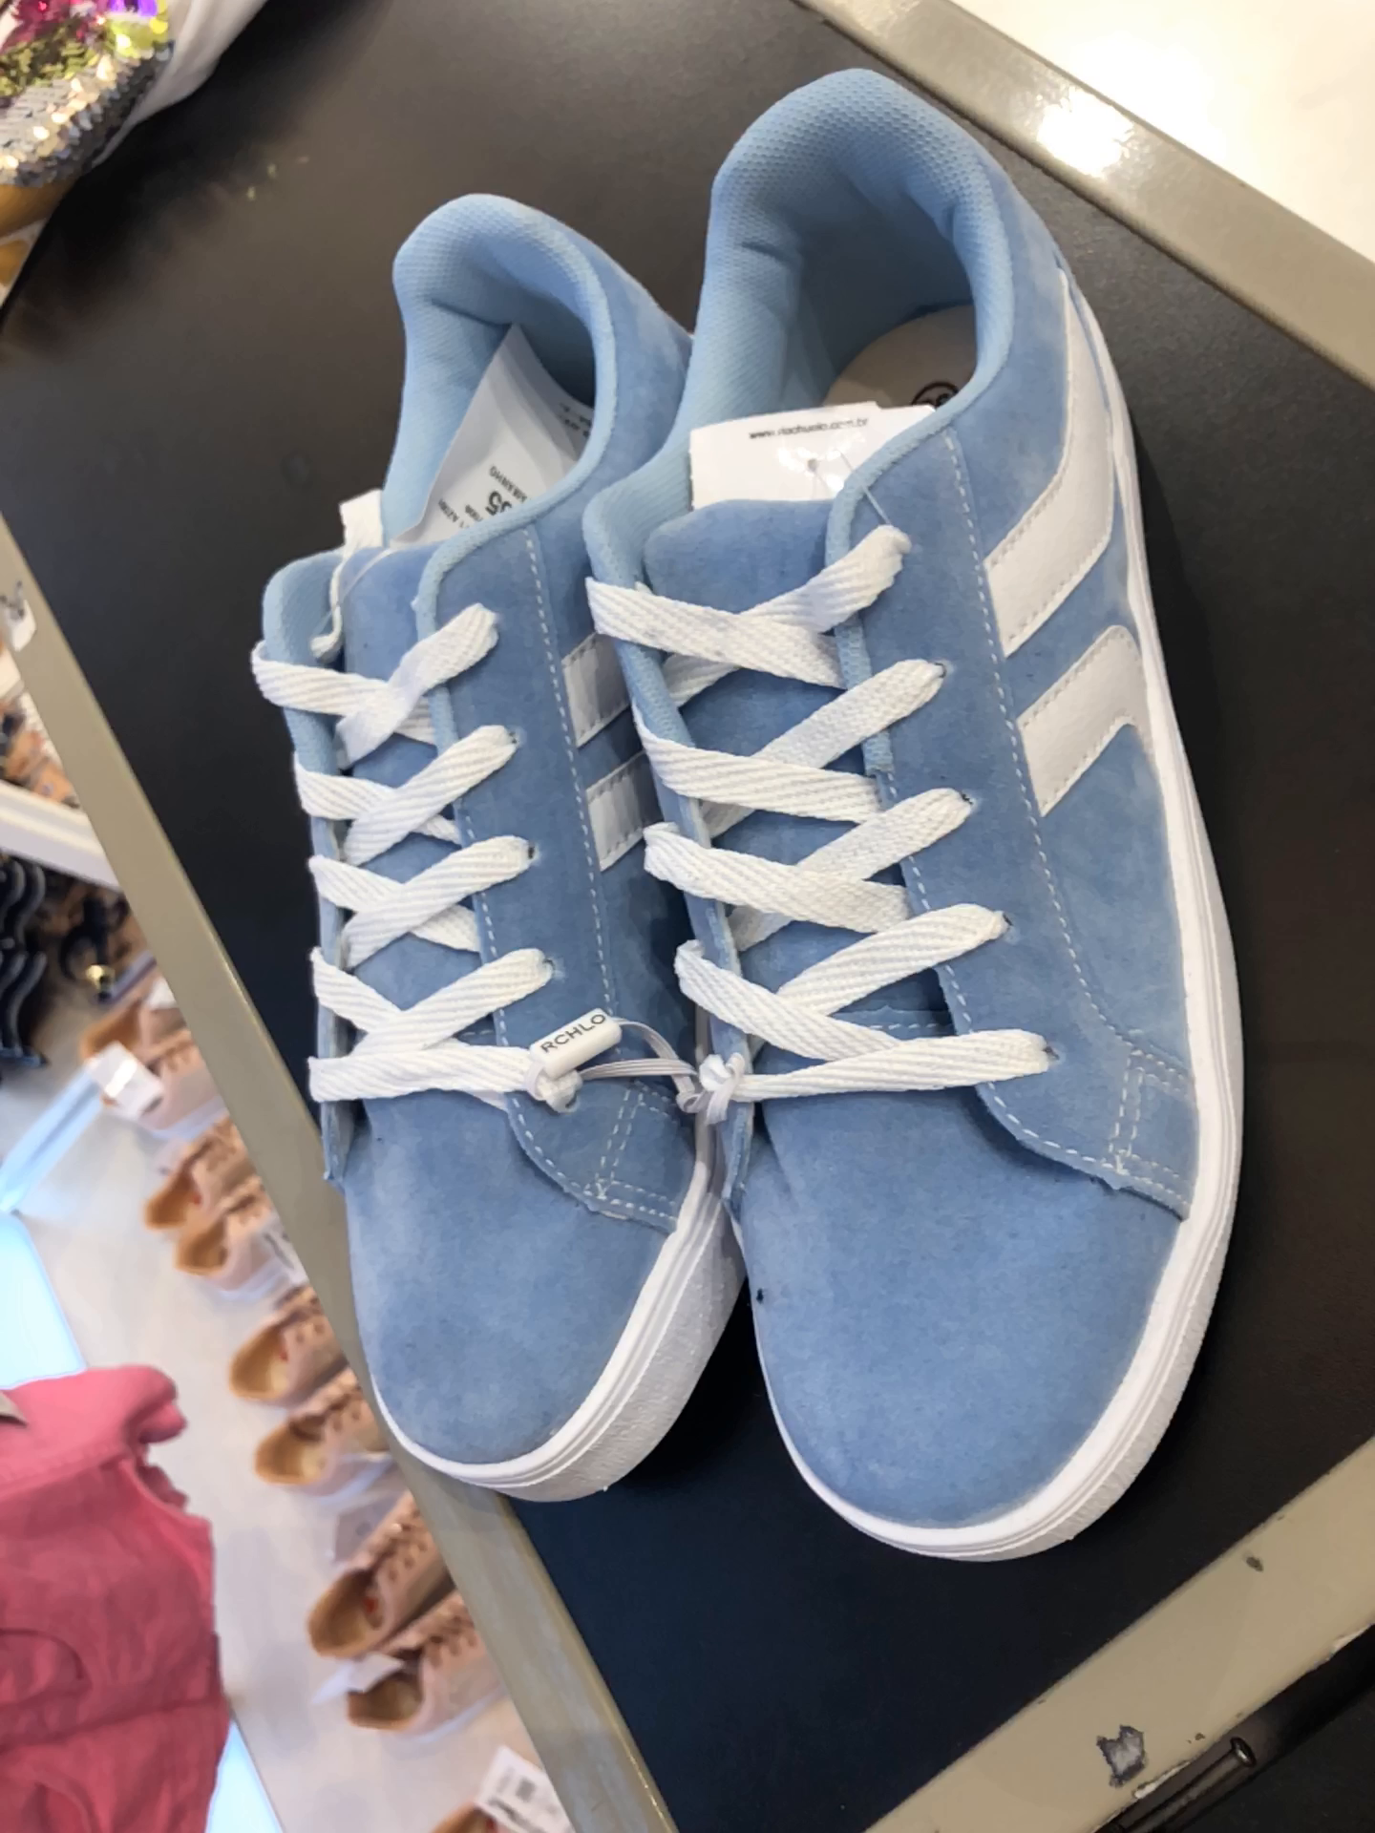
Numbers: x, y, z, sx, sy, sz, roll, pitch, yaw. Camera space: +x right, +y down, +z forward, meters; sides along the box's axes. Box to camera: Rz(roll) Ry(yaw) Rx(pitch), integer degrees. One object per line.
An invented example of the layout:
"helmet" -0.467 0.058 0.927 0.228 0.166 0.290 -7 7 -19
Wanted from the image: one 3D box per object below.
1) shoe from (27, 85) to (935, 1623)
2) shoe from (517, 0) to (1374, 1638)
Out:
"shoe" -0.023 -0.006 0.301 0.100 0.120 0.240 -5 72 30
"shoe" 0.052 -0.013 0.278 0.100 0.120 0.240 -8 70 29
